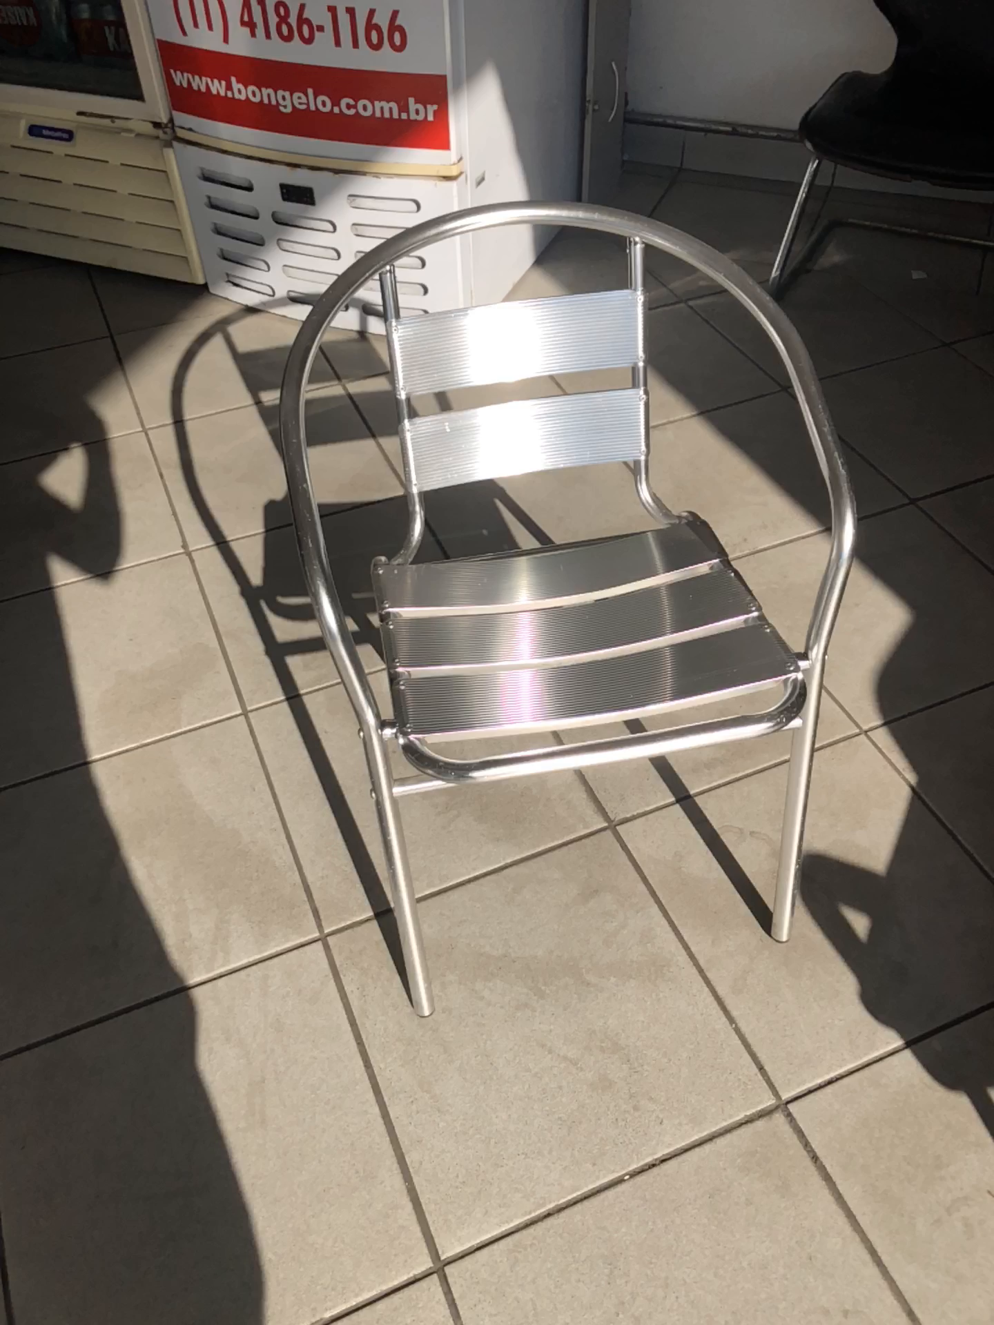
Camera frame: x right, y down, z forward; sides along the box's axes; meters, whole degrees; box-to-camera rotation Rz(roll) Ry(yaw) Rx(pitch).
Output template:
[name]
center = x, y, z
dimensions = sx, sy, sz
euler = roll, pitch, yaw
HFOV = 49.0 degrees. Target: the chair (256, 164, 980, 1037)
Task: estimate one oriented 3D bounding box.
[chair]
center = 0.061, -0.075, 1.273
dimensions = 0.520, 0.705, 0.634
euler = -9, 45, -7
